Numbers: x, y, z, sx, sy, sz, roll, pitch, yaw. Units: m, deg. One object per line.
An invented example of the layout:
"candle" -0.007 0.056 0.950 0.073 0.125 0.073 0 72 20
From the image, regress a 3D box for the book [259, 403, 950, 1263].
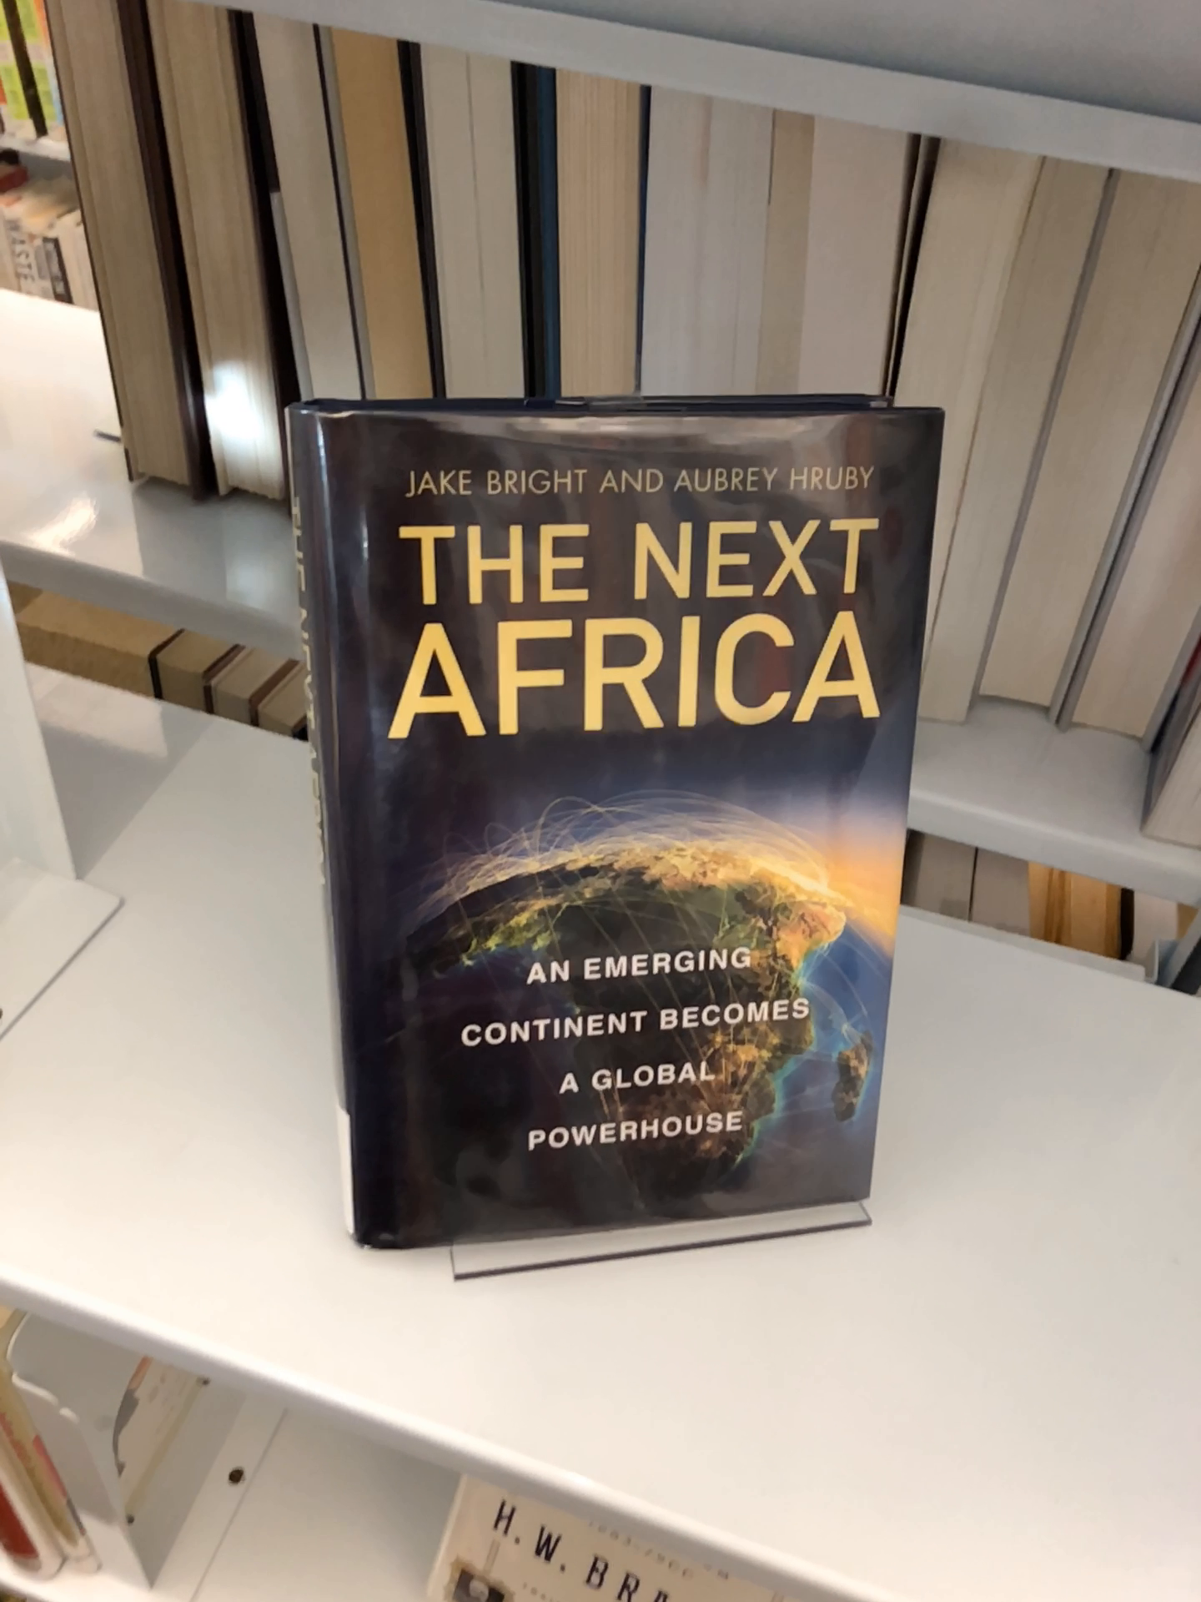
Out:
"book" 0.001 0.010 0.336 0.153 0.211 0.030 -3 19 -10
